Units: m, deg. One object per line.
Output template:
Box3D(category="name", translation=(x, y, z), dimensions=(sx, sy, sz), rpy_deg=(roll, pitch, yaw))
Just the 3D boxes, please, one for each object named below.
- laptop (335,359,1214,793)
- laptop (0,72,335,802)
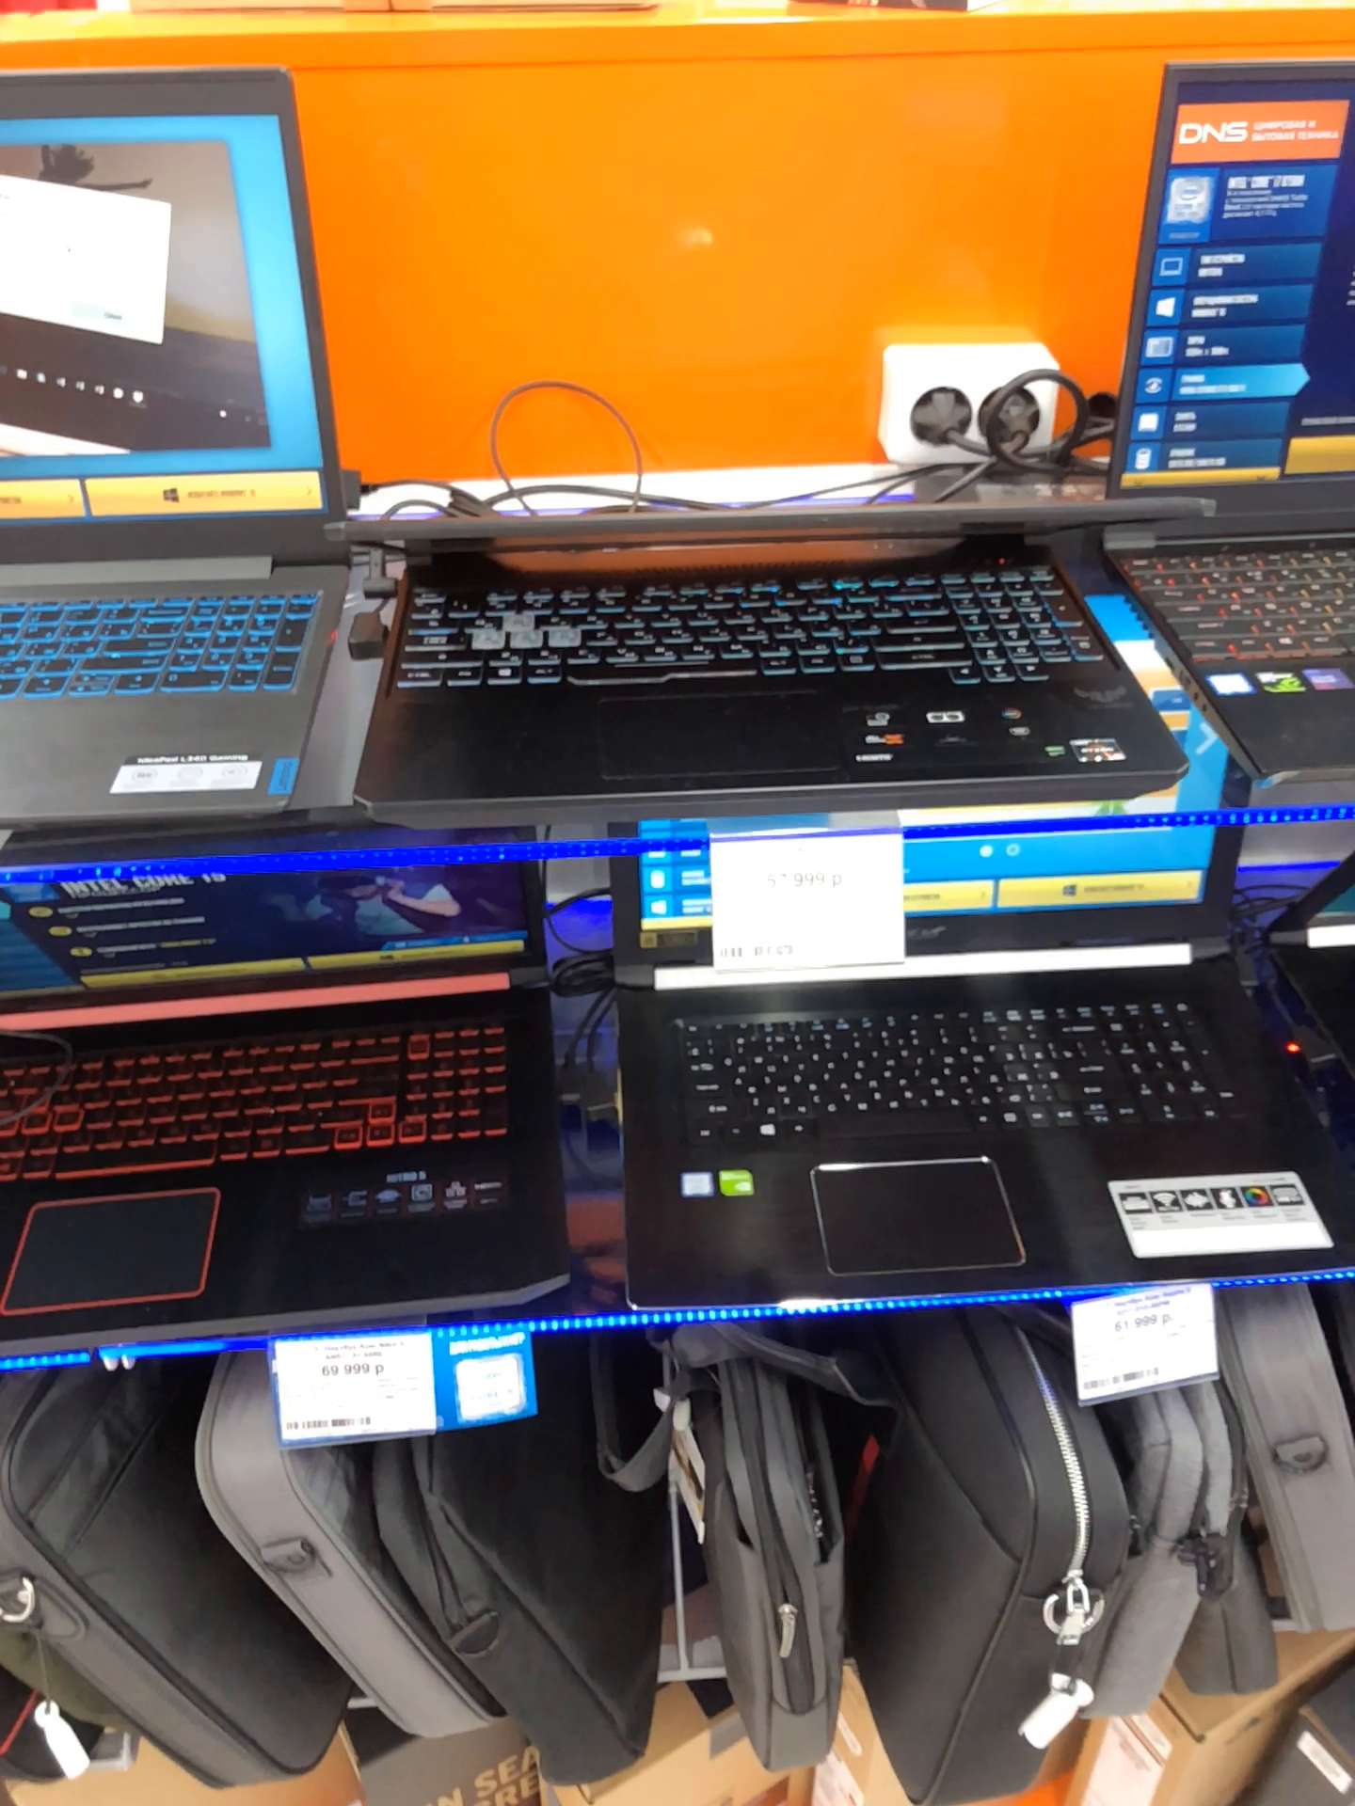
Box3D(category="laptop", translation=(0.036, -0.168, 0.714), dimensions=(0.347, 0.106, 0.240), rpy_deg=(-3, 35, -3))
Box3D(category="laptop", translation=(-0.367, -0.226, 0.680), dimensions=(0.356, 0.235, 0.284), rpy_deg=(-3, 35, -3))
